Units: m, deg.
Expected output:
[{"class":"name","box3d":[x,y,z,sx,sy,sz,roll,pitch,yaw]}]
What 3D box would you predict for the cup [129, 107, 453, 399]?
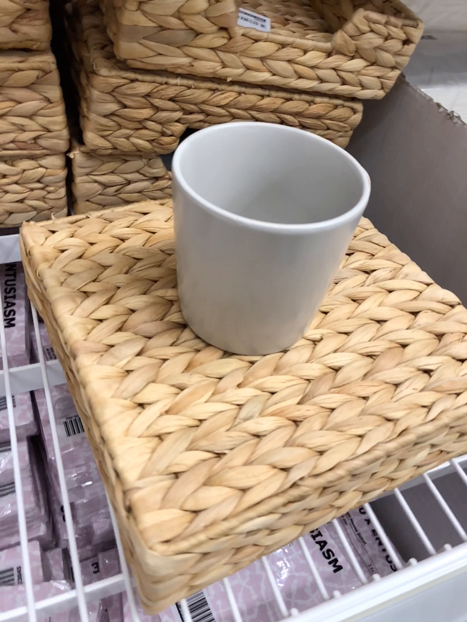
[{"class":"cup","box3d":[0.021,-0.036,0.269,0.120,0.090,0.090,-18,49,-25]}]
